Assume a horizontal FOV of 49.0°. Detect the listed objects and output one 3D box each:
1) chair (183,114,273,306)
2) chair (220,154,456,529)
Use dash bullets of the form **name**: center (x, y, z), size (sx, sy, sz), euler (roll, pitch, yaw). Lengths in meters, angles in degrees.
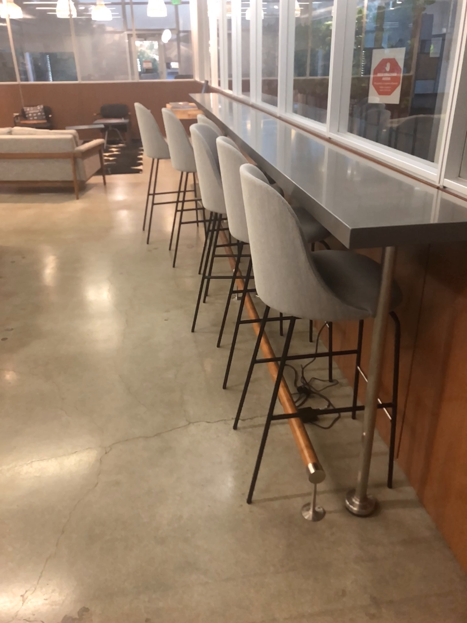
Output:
- **chair**: center (-0.053, -0.909, 4.533), size (0.621, 1.489, 0.715), euler (-6, 26, -10)
- **chair**: center (0.285, 0.106, 1.801), size (0.590, 1.181, 0.494), euler (-3, 25, -4)
